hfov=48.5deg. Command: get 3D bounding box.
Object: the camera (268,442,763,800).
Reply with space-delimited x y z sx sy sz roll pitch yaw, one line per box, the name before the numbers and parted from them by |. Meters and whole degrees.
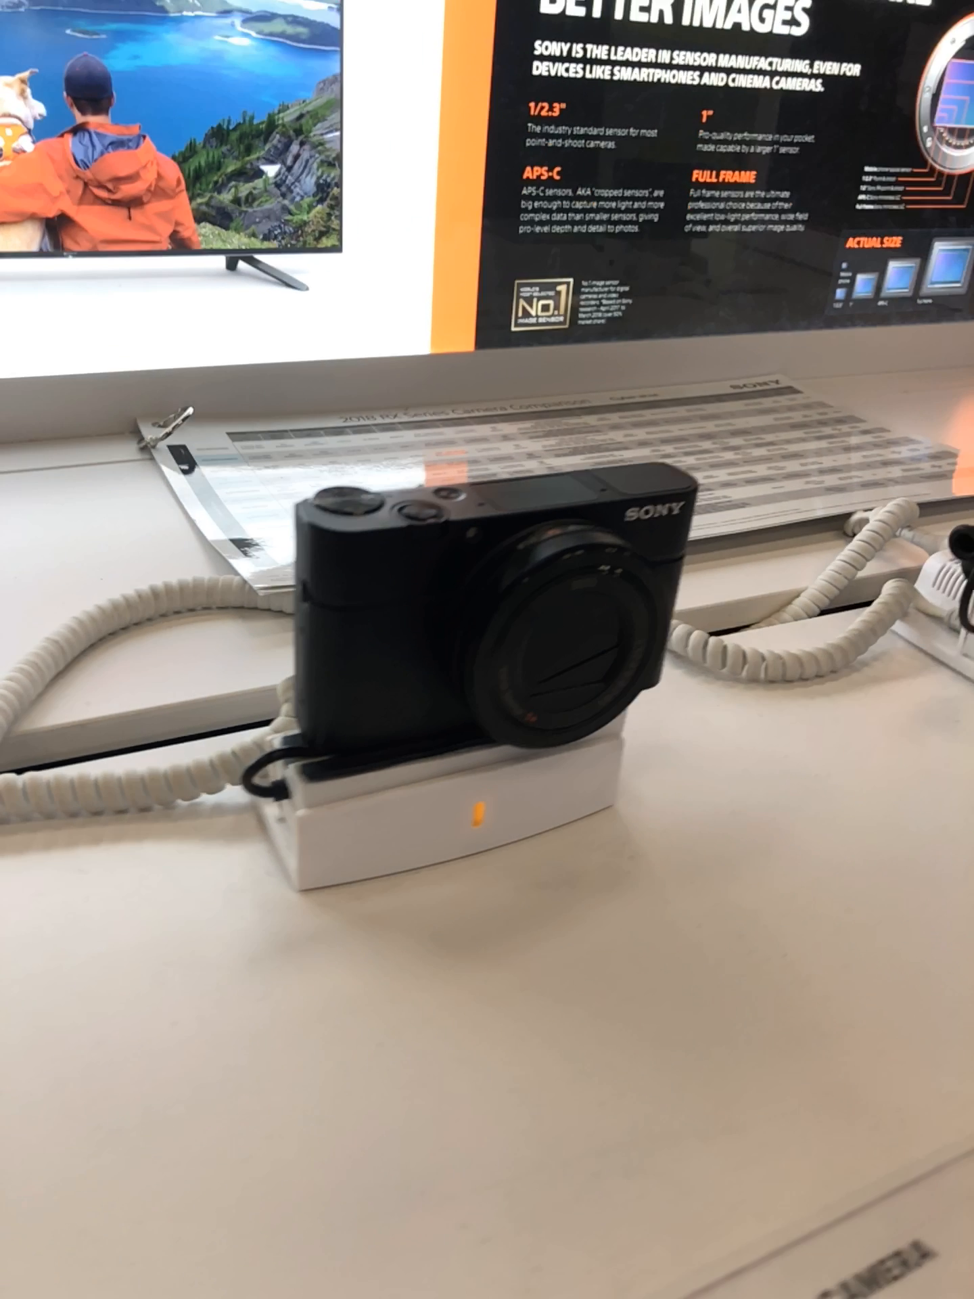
camera | 0.007 -0.011 0.266 0.110 0.060 0.040 -11 31 -26
